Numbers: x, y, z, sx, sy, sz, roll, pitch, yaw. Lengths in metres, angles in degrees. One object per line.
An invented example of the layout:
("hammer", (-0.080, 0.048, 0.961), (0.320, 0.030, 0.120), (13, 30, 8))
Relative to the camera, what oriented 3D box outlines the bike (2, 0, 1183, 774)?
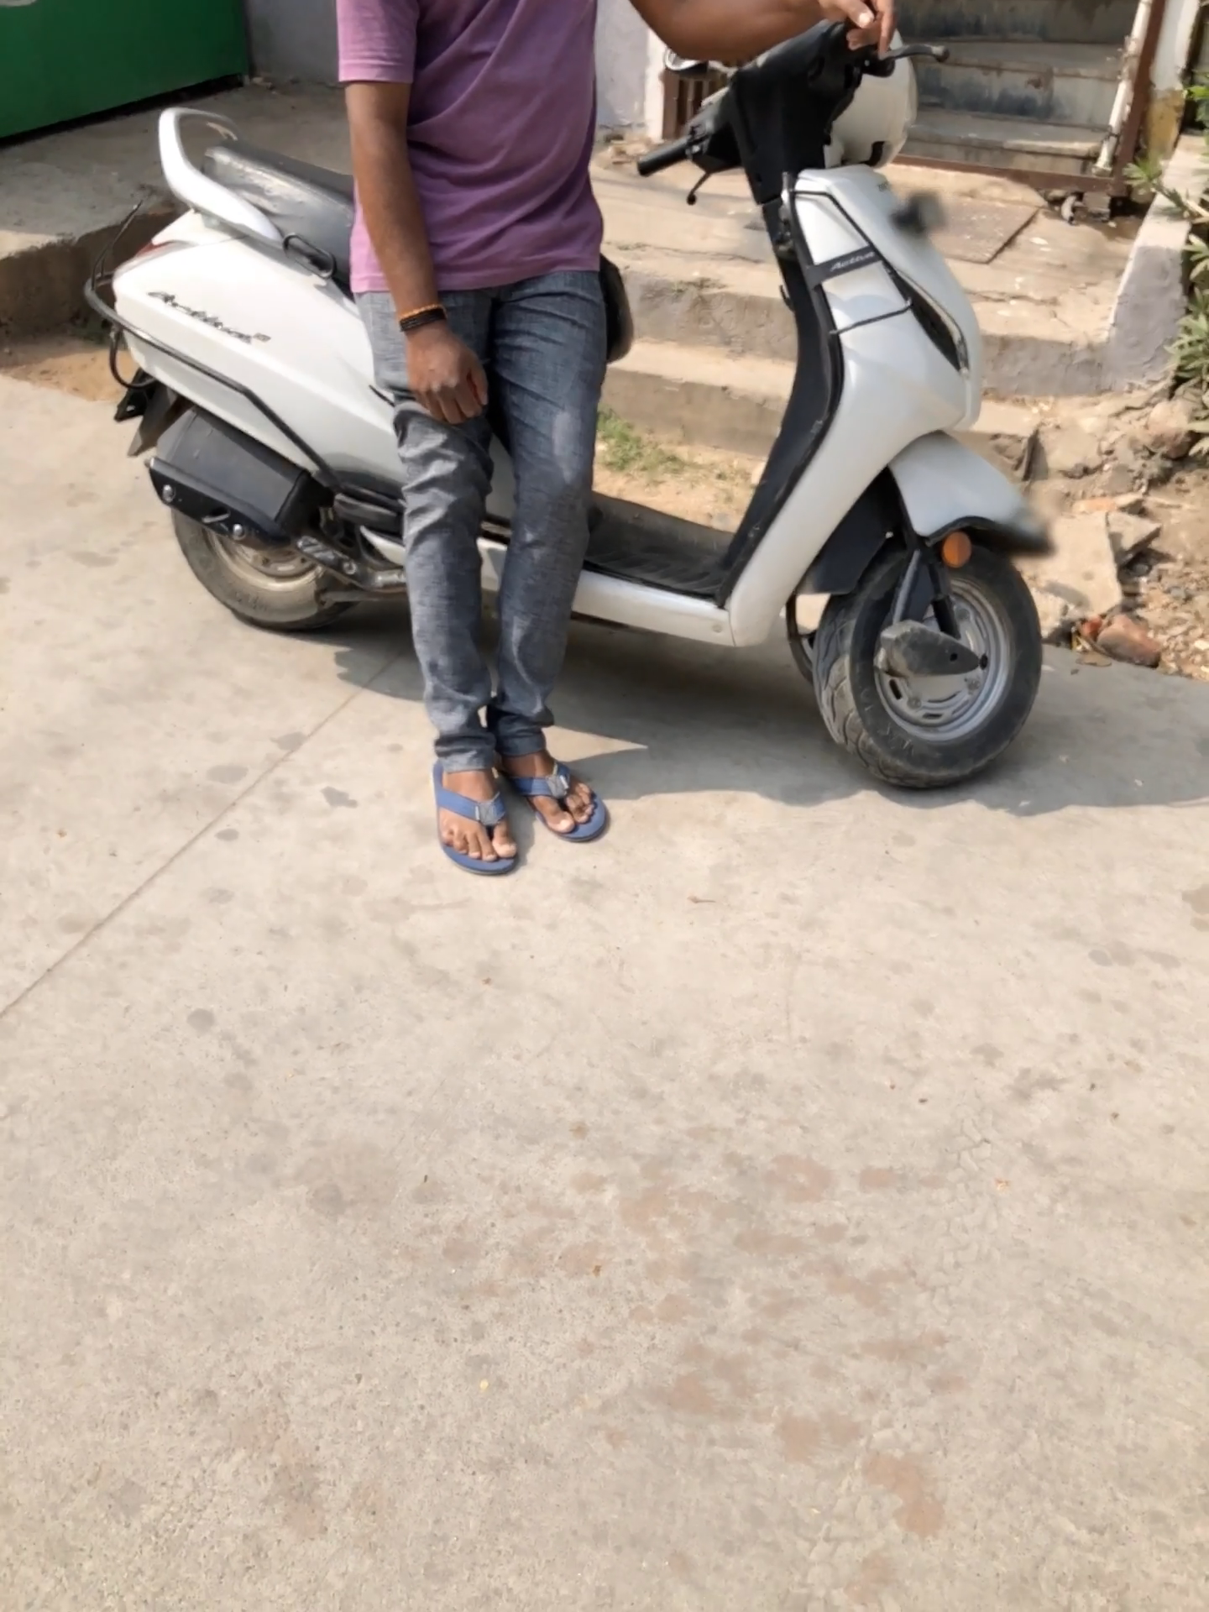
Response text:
("bike", (0.013, -0.769, 2.219), (1.519, 1.007, 0.652), (10, 38, 10))
